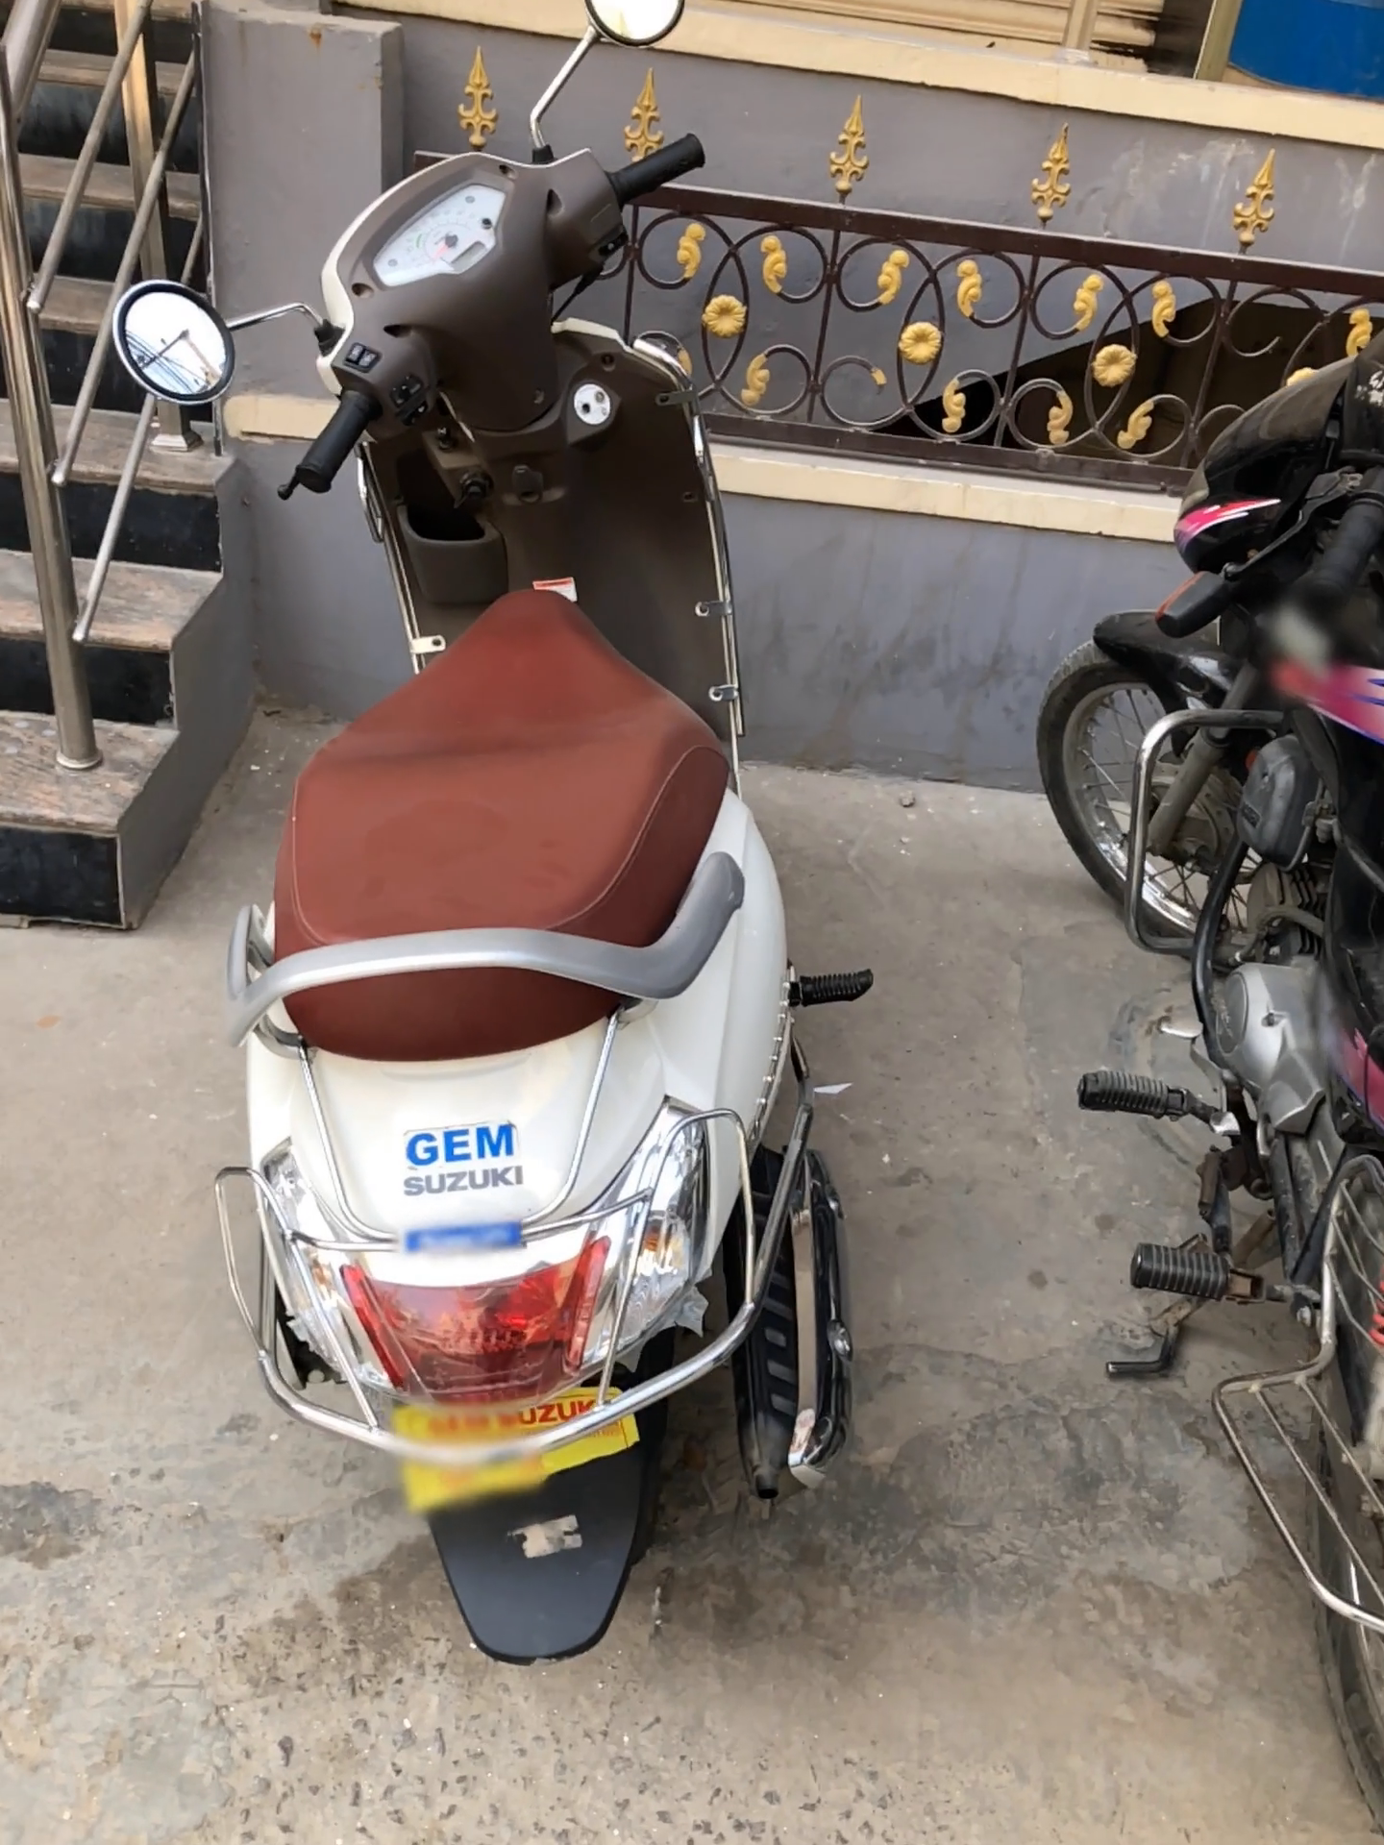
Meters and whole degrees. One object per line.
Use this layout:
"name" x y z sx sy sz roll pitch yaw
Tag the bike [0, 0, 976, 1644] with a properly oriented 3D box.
"bike" -0.281 -0.269 1.731 0.597 1.194 1.494 2 36 -9
